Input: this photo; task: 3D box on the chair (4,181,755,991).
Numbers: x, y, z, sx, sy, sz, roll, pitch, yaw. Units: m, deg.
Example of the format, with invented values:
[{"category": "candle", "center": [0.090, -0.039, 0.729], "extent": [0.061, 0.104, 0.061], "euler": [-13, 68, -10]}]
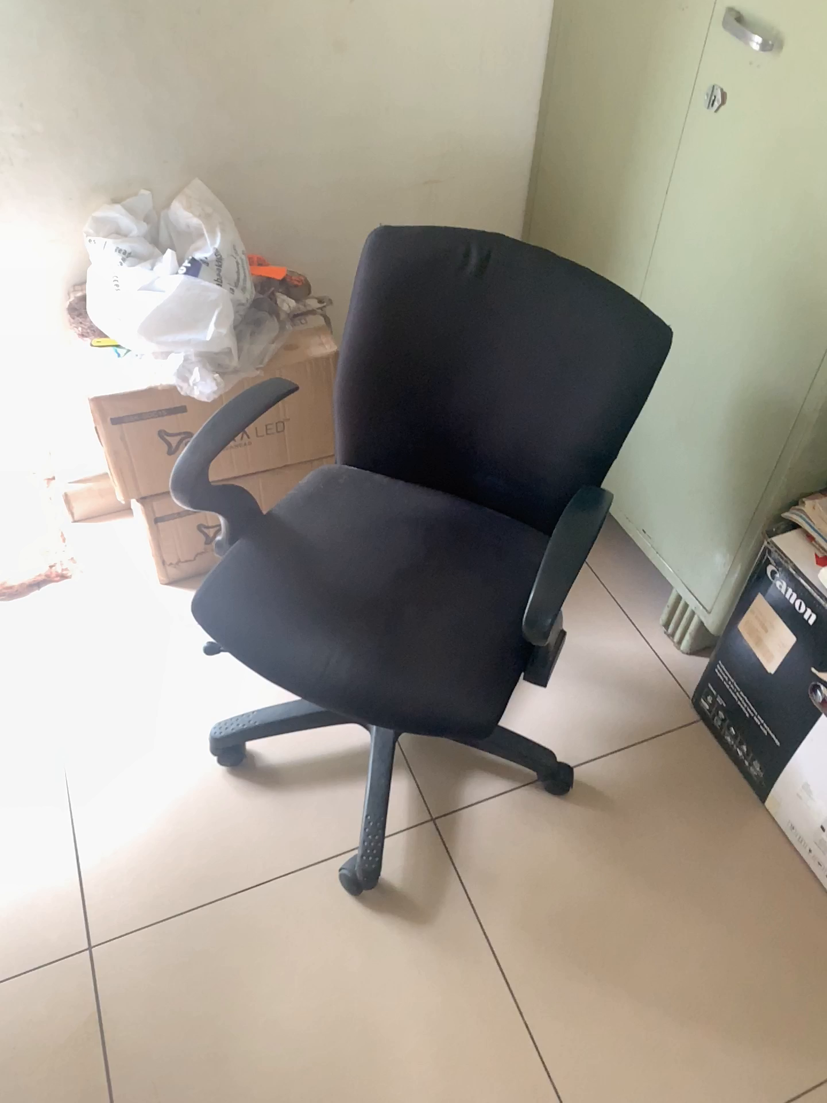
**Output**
[{"category": "chair", "center": [0.004, 0.062, 1.368], "extent": [0.700, 0.926, 0.702], "euler": [18, 47, 14]}]
